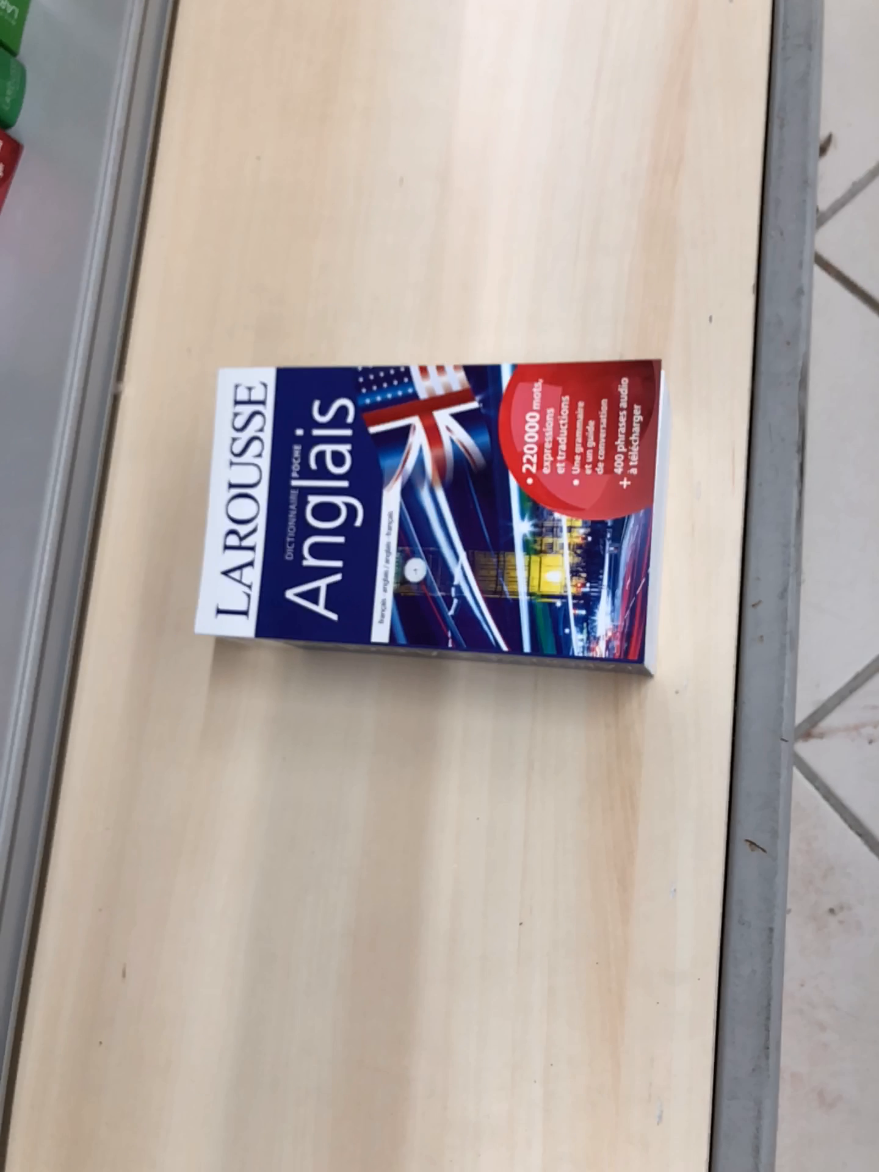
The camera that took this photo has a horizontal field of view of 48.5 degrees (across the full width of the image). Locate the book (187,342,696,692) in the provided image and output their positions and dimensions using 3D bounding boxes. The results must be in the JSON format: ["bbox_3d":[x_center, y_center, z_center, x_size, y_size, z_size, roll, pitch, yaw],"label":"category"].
[{"bbox_3d":[0.004,-0.026,0.382,0.181,0.054,0.117,2,78,16],"label":"book"}]
